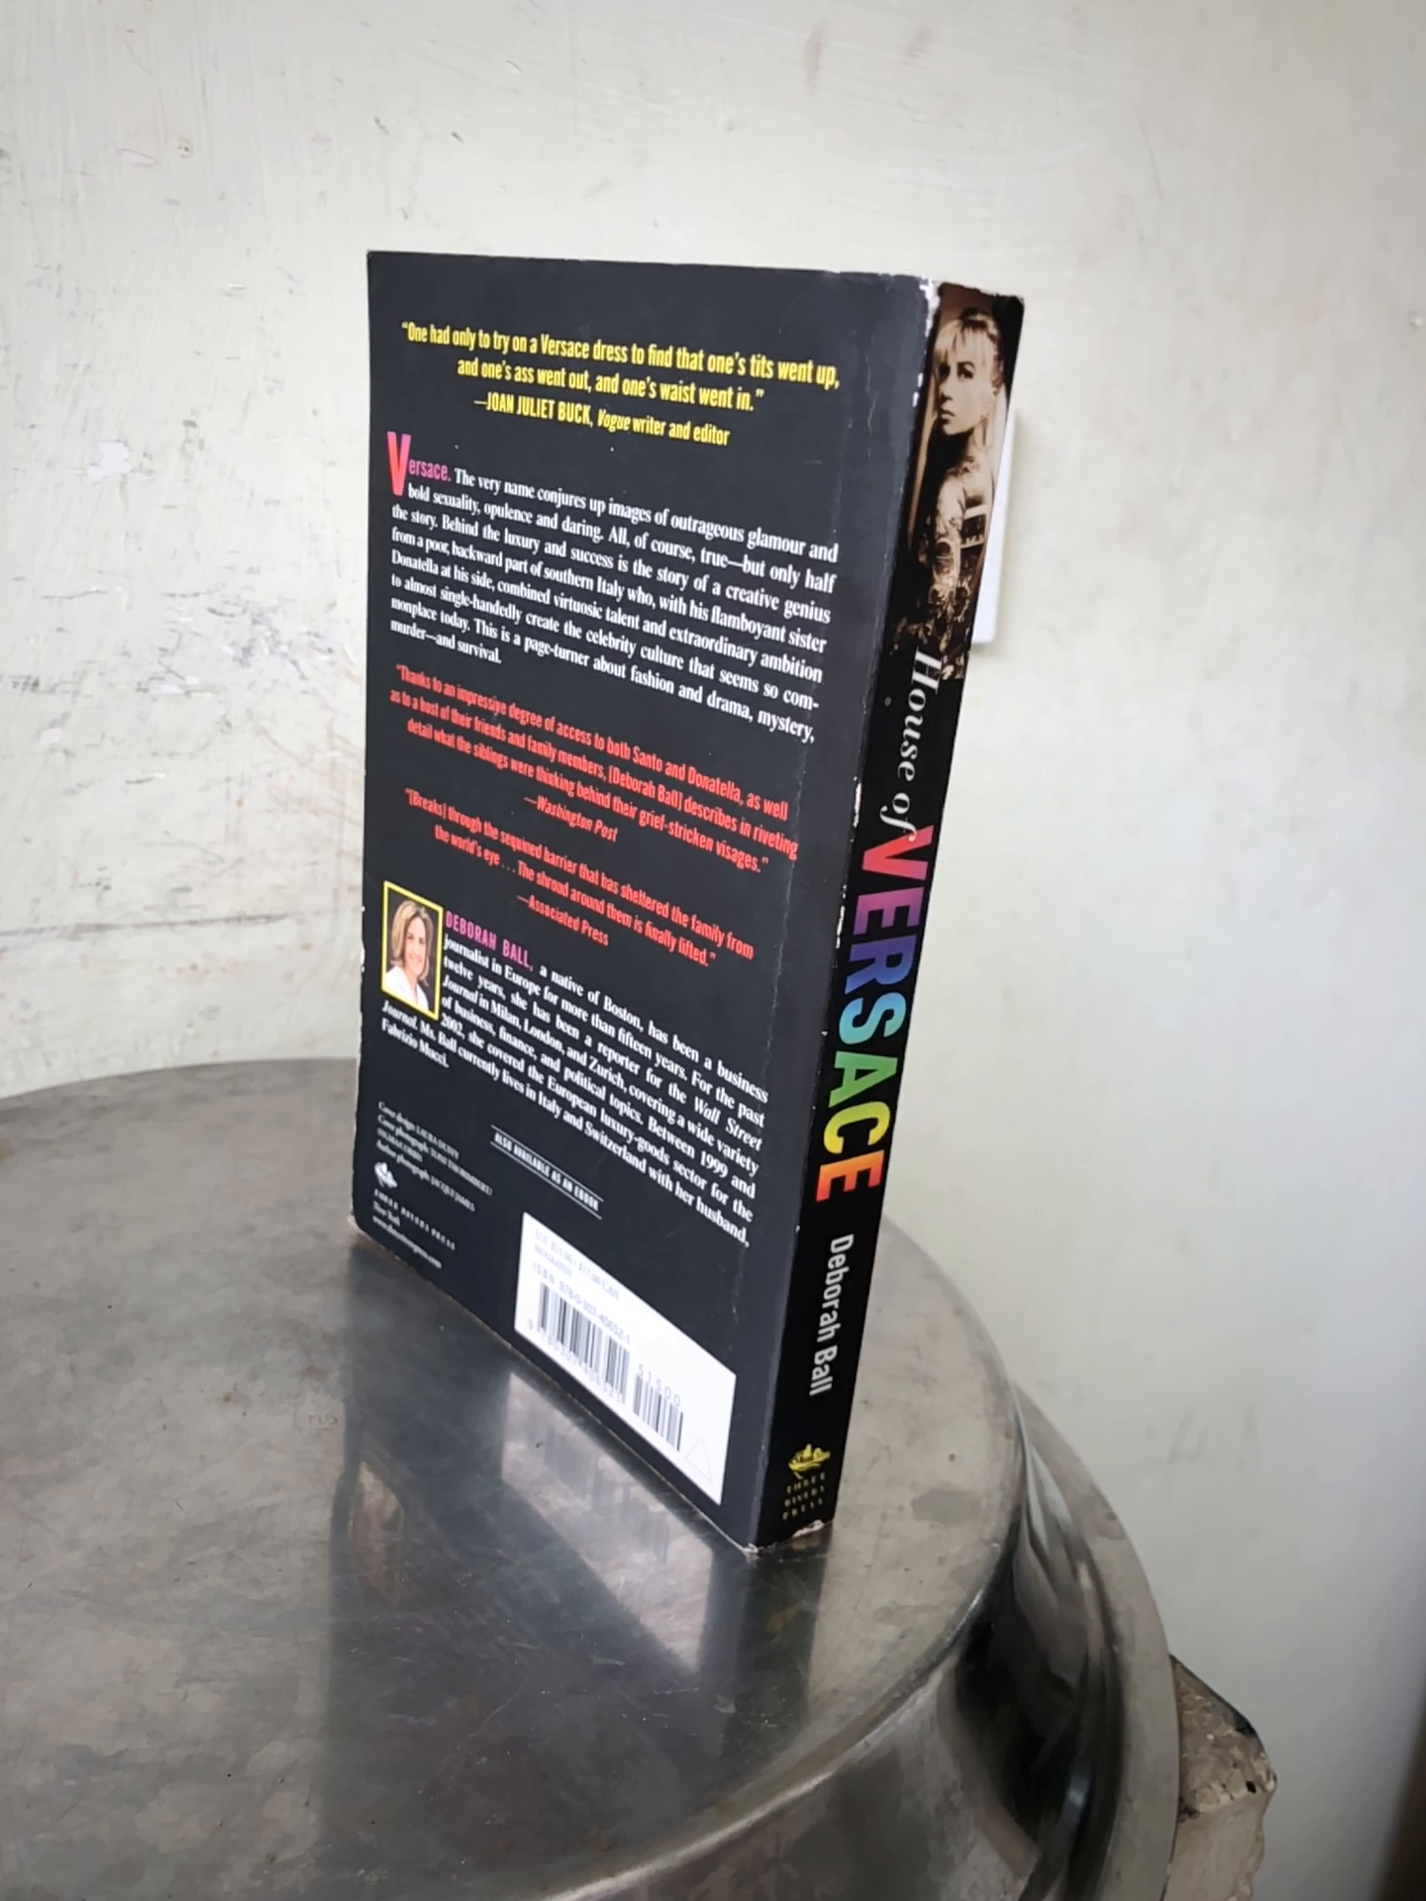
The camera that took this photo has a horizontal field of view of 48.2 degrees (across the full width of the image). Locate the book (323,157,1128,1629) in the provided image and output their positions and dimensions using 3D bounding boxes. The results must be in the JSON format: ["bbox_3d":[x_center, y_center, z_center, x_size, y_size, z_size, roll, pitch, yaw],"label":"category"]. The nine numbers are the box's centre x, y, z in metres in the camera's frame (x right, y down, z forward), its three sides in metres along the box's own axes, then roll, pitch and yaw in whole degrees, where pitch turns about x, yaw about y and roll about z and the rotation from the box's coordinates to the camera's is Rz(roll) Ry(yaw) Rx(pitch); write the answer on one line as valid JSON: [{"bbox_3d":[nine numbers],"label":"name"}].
[{"bbox_3d":[-0.019,-0.022,0.311,0.040,0.219,0.180,-6,19,-35],"label":"book"}]
